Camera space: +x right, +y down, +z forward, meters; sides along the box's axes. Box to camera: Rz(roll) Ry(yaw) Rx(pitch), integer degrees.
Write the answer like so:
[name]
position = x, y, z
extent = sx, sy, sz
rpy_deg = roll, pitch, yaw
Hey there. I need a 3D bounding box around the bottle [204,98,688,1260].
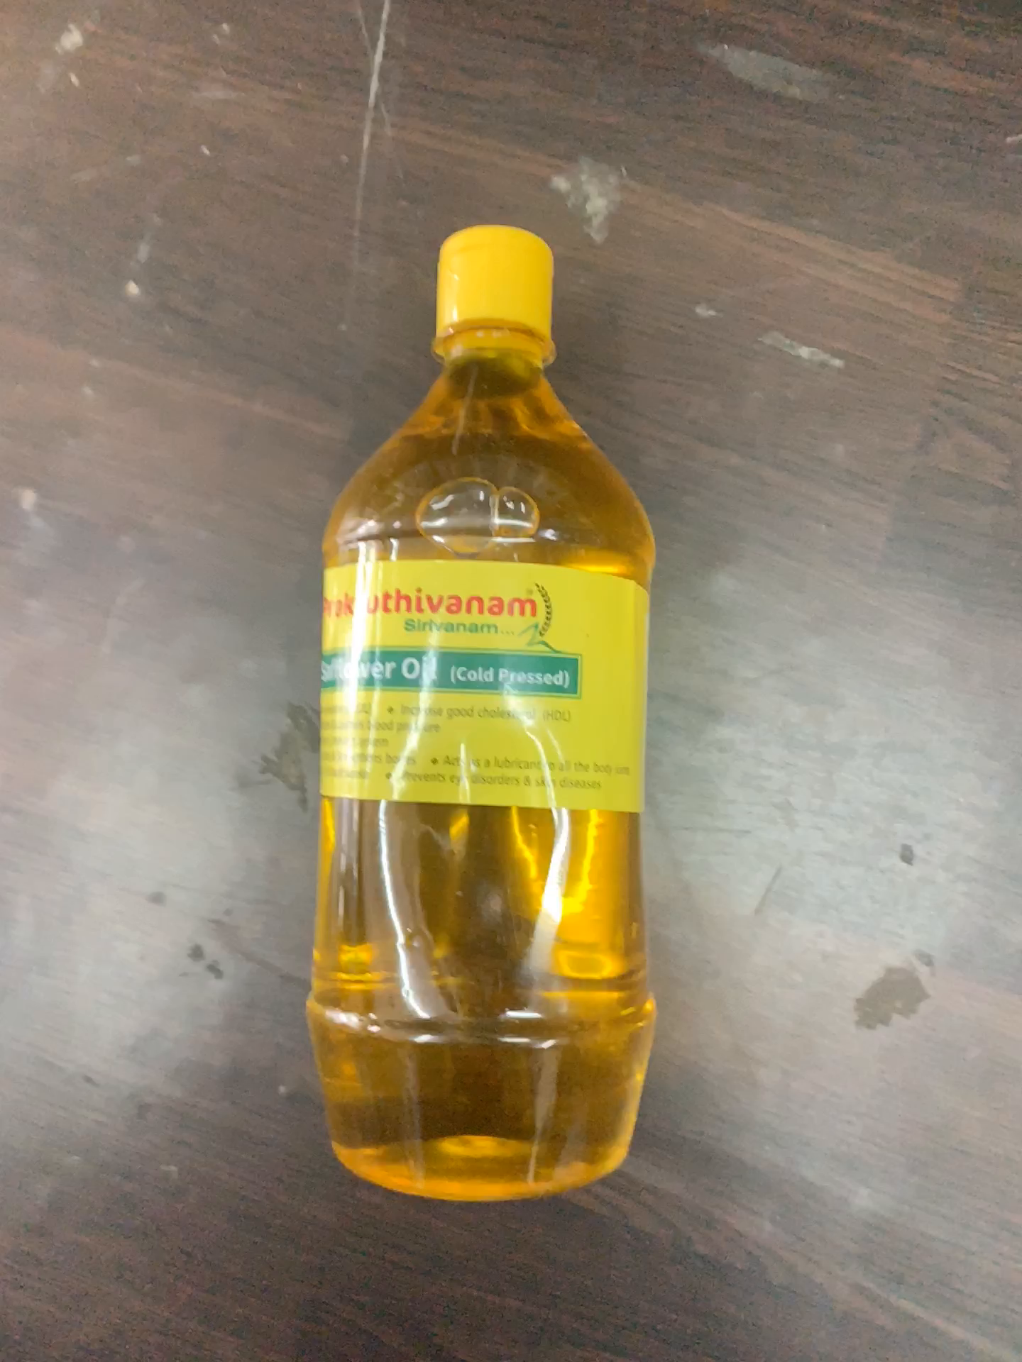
[bottle]
position = -0.010, -0.001, 0.262
extent = 0.090, 0.080, 0.230
rpy_deg = -1, 86, 21
